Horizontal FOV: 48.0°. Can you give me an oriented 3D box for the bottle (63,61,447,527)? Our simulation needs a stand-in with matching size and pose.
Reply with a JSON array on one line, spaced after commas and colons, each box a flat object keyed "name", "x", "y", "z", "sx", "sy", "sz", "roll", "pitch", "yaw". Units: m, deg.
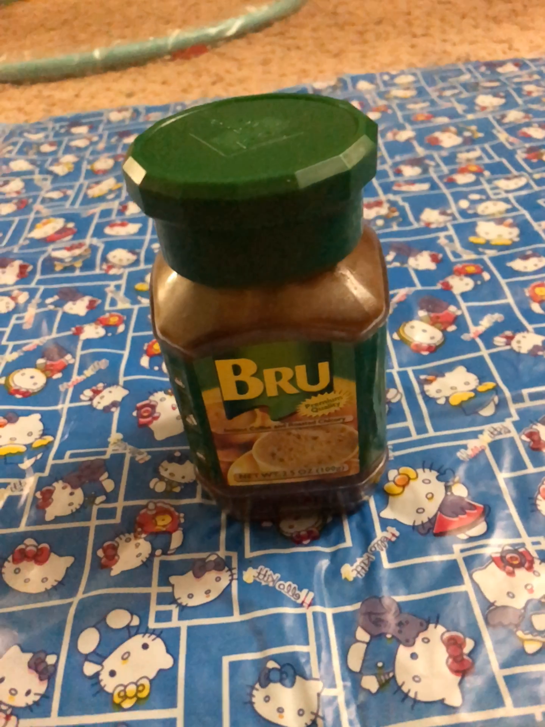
[{"name": "bottle", "x": 0.002, "y": -0.016, "z": 0.192, "sx": 0.080, "sy": 0.120, "sz": 0.070, "roll": -5, "pitch": 41, "yaw": 4}]
